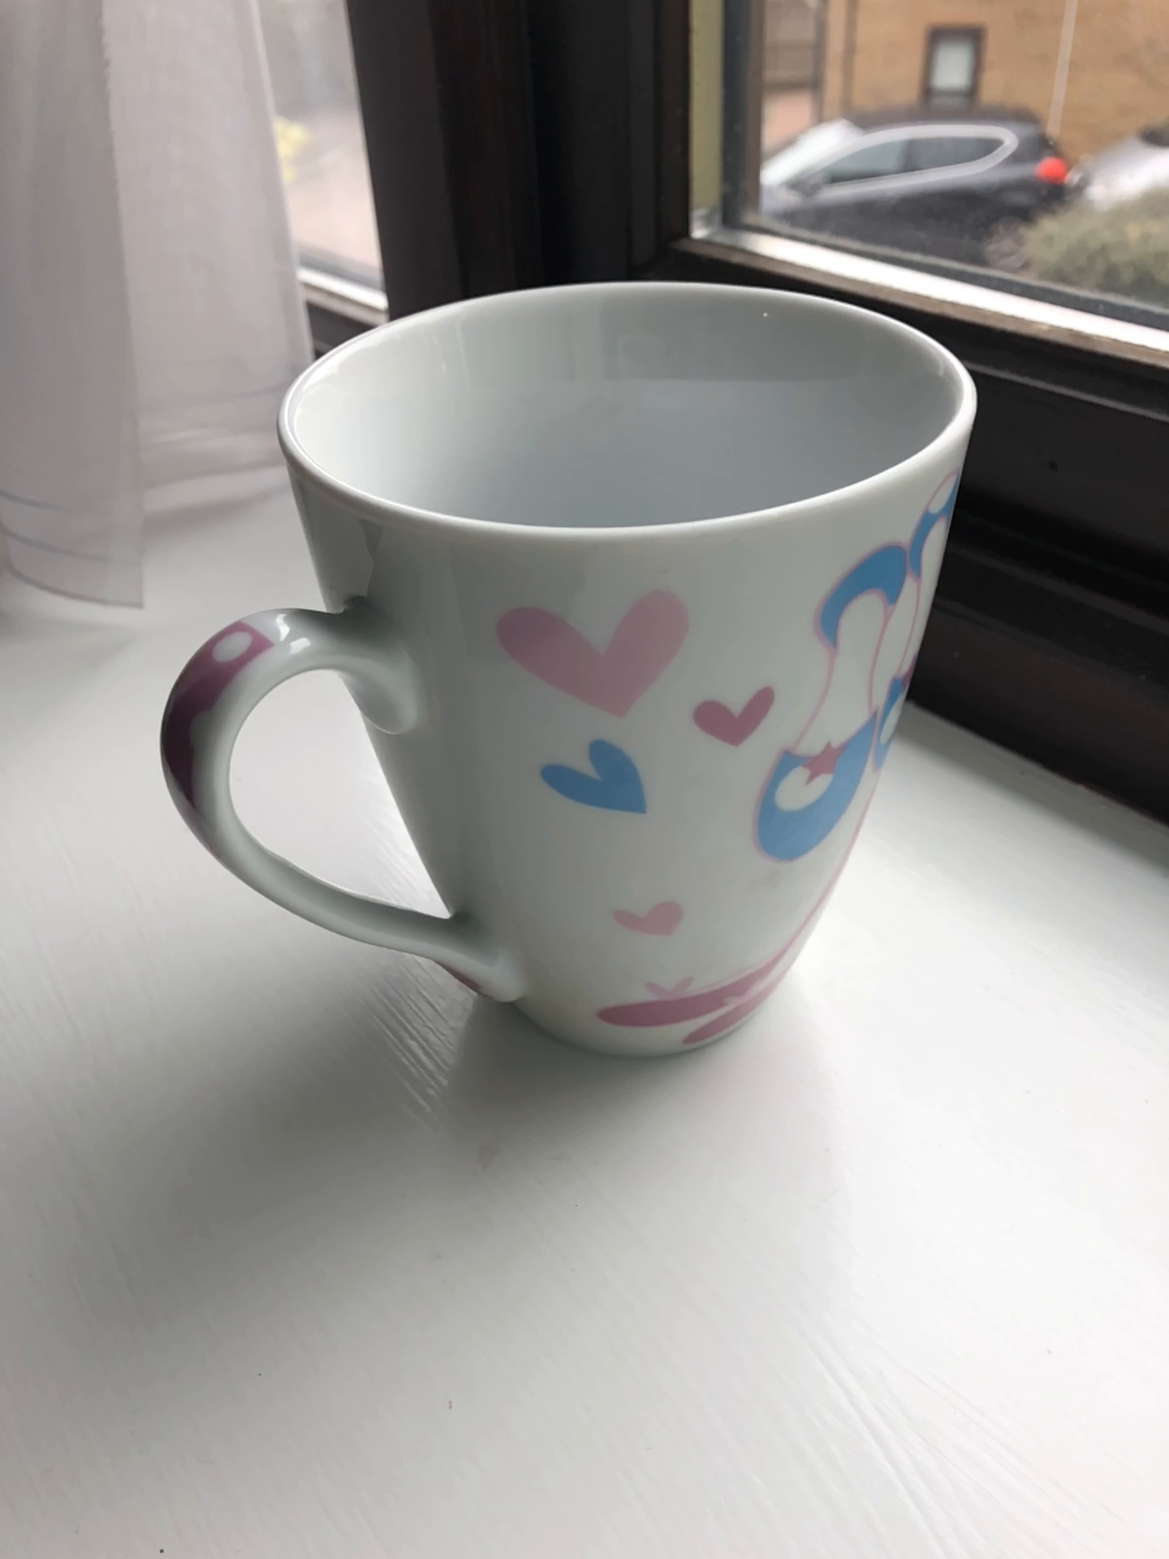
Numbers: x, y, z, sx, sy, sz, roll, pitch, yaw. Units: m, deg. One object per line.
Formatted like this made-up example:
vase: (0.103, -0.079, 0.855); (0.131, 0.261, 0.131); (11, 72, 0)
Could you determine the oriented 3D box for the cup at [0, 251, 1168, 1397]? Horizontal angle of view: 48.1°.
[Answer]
cup: (0.001, -0.013, 0.207); (0.110, 0.089, 0.141); (27, 45, 35)
